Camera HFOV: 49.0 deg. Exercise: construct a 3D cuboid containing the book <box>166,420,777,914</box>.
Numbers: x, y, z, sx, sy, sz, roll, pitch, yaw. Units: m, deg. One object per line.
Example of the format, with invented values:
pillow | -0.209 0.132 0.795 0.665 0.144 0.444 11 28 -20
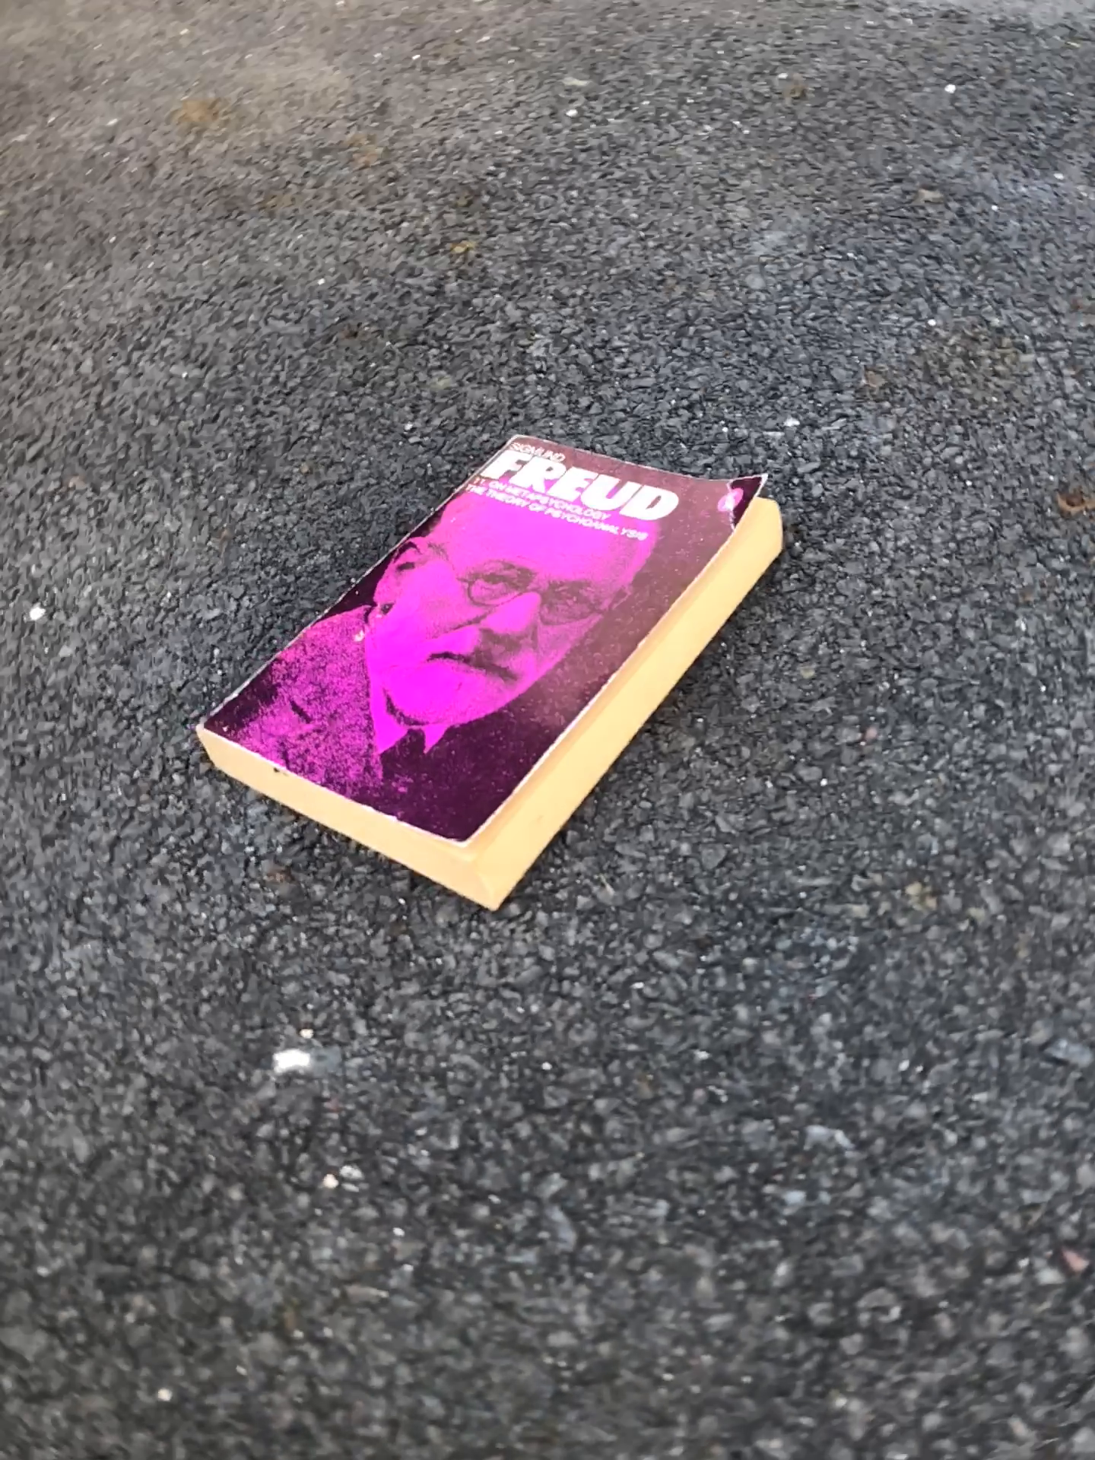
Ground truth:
book | -0.021 -0.038 0.443 0.131 0.031 0.195 22 54 31
